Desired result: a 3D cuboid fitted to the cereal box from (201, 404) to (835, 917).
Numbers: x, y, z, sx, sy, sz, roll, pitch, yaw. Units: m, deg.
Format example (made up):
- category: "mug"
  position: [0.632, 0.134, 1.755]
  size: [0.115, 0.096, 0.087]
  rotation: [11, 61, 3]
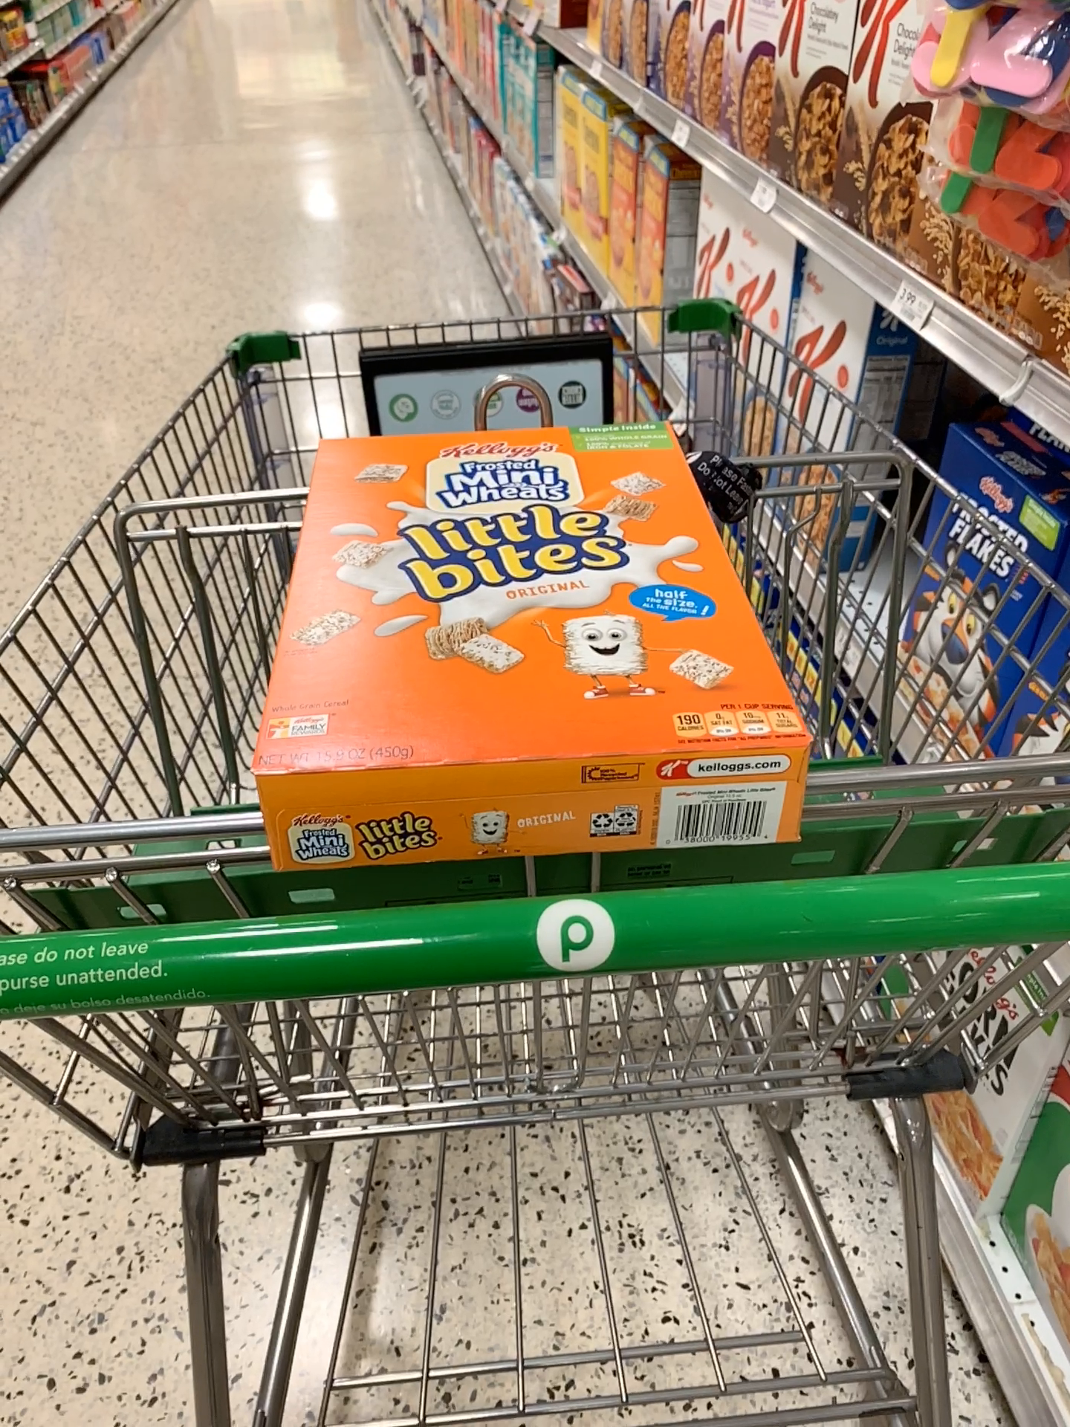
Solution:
- category: "cereal box"
  position: [-0.016, -0.052, 0.512]
  size: [0.210, 0.059, 0.323]
  rotation: [-4, 36, -3]
